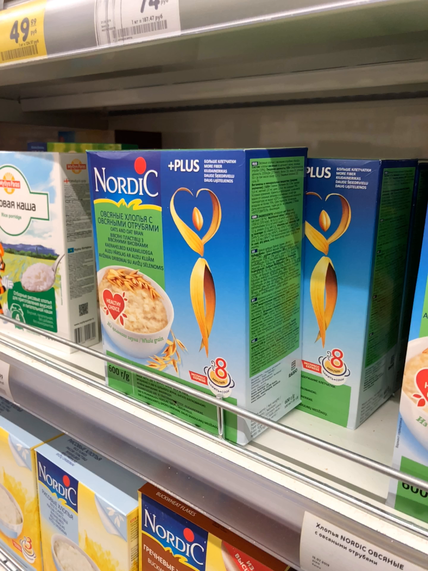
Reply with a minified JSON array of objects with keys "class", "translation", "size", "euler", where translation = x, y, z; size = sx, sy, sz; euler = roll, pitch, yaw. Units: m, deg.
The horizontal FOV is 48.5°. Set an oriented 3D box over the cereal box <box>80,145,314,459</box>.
[{"class":"cereal box","translation":[-0.017,-0.003,0.347],"size":[0.150,0.189,0.070],"euler":[12,19,38]}]
